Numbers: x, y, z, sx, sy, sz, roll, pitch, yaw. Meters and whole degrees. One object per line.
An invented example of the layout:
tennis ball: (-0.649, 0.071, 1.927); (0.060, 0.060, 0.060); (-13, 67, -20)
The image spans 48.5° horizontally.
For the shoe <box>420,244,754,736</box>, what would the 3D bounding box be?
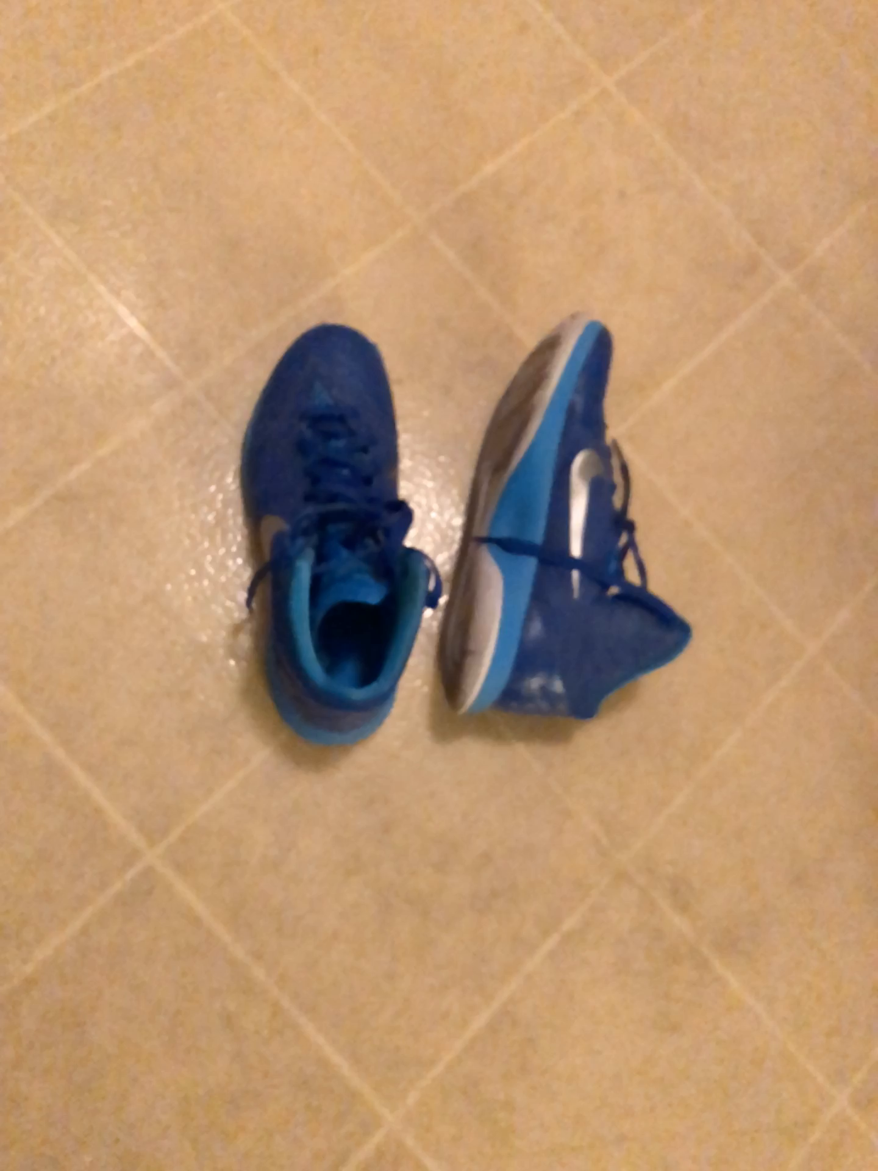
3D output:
shoe: (0.101, -0.054, 0.662); (0.159, 0.120, 0.282); (13, 75, -15)

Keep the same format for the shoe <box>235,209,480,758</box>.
shoe: (-0.063, -0.054, 0.619); (0.120, 0.144, 0.310); (-1, 78, -13)
